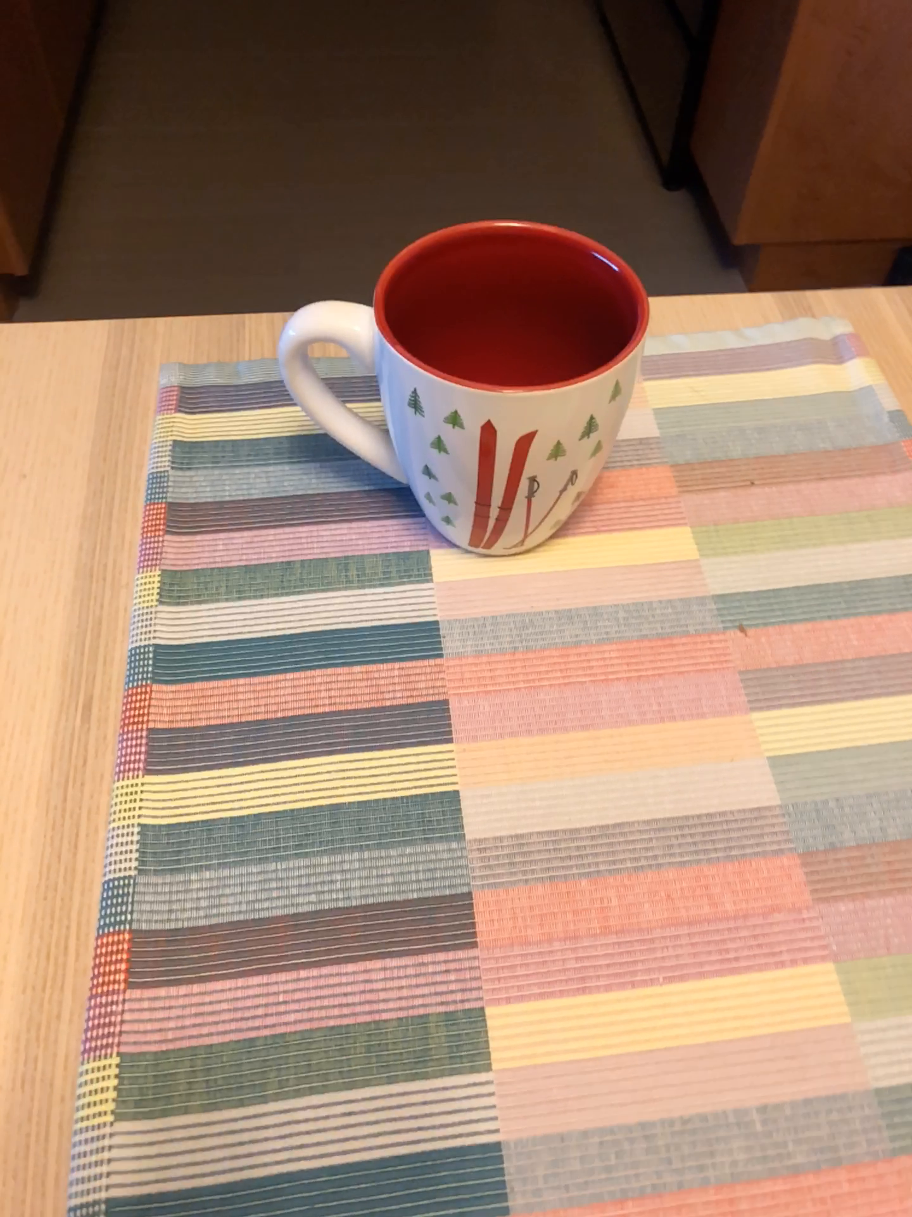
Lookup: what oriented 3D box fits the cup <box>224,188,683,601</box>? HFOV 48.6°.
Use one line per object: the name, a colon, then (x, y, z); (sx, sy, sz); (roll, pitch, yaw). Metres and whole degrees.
cup: (0.004, -0.078, 0.372); (0.140, 0.090, 0.100); (8, 53, 3)
